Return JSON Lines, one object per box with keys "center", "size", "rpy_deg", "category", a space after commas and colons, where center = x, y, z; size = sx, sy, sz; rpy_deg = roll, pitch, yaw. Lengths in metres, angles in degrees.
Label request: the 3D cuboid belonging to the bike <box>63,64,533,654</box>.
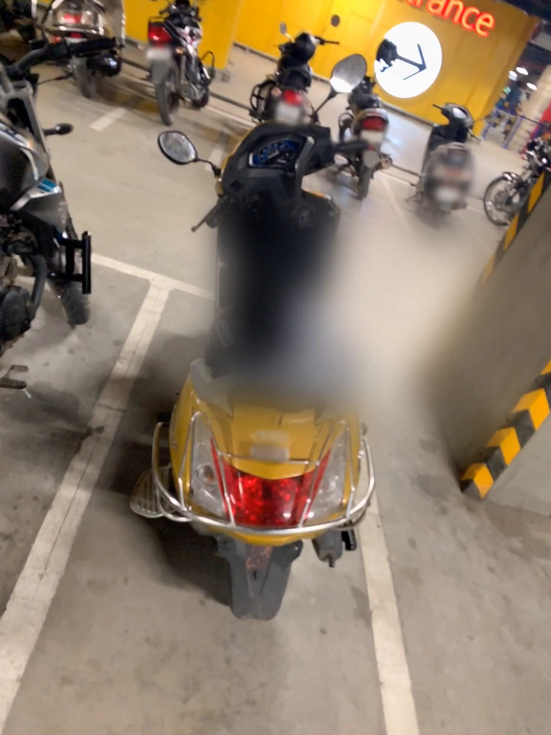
{"center": [-0.119, -0.181, 1.664], "size": [0.569, 0.993, 1.526], "rpy_deg": [13, 32, -16], "category": "bike"}
